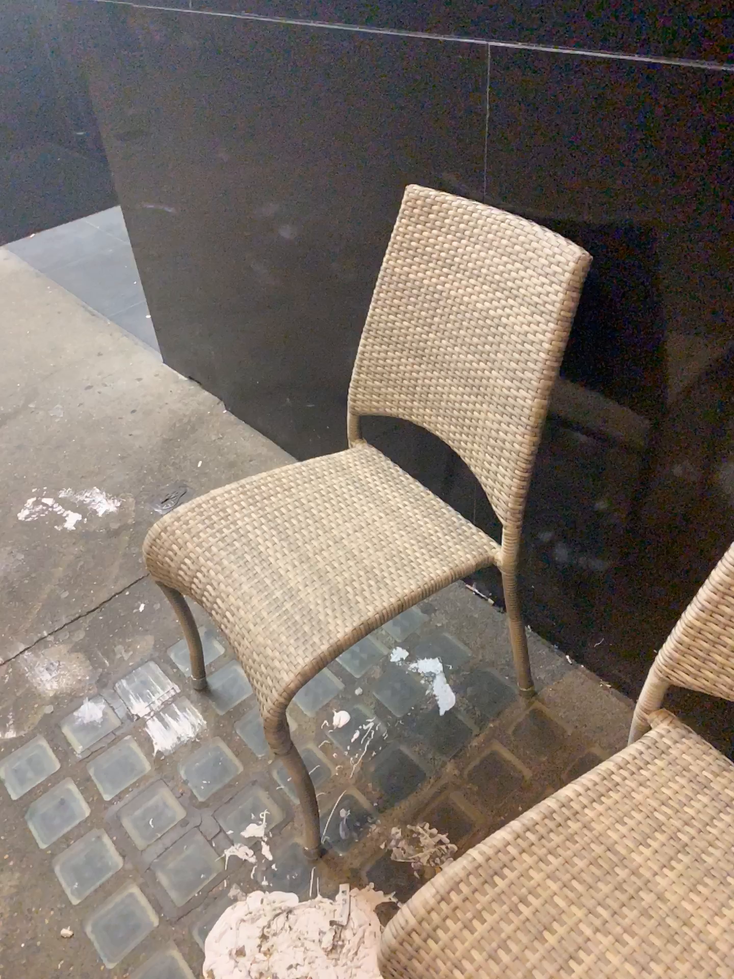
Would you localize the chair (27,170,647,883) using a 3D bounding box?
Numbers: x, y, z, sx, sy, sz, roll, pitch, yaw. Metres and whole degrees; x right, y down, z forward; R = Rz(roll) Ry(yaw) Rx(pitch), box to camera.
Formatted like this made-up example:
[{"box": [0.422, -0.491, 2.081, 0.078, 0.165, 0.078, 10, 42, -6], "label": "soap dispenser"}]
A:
[{"box": [-0.021, 0.047, 1.188, 0.612, 0.831, 0.484, -27, 44, -24], "label": "chair"}]

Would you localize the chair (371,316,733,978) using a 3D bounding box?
[{"box": [0.435, 0.420, 0.706, 0.601, 0.901, 0.585, -19, 40, -29], "label": "chair"}]
